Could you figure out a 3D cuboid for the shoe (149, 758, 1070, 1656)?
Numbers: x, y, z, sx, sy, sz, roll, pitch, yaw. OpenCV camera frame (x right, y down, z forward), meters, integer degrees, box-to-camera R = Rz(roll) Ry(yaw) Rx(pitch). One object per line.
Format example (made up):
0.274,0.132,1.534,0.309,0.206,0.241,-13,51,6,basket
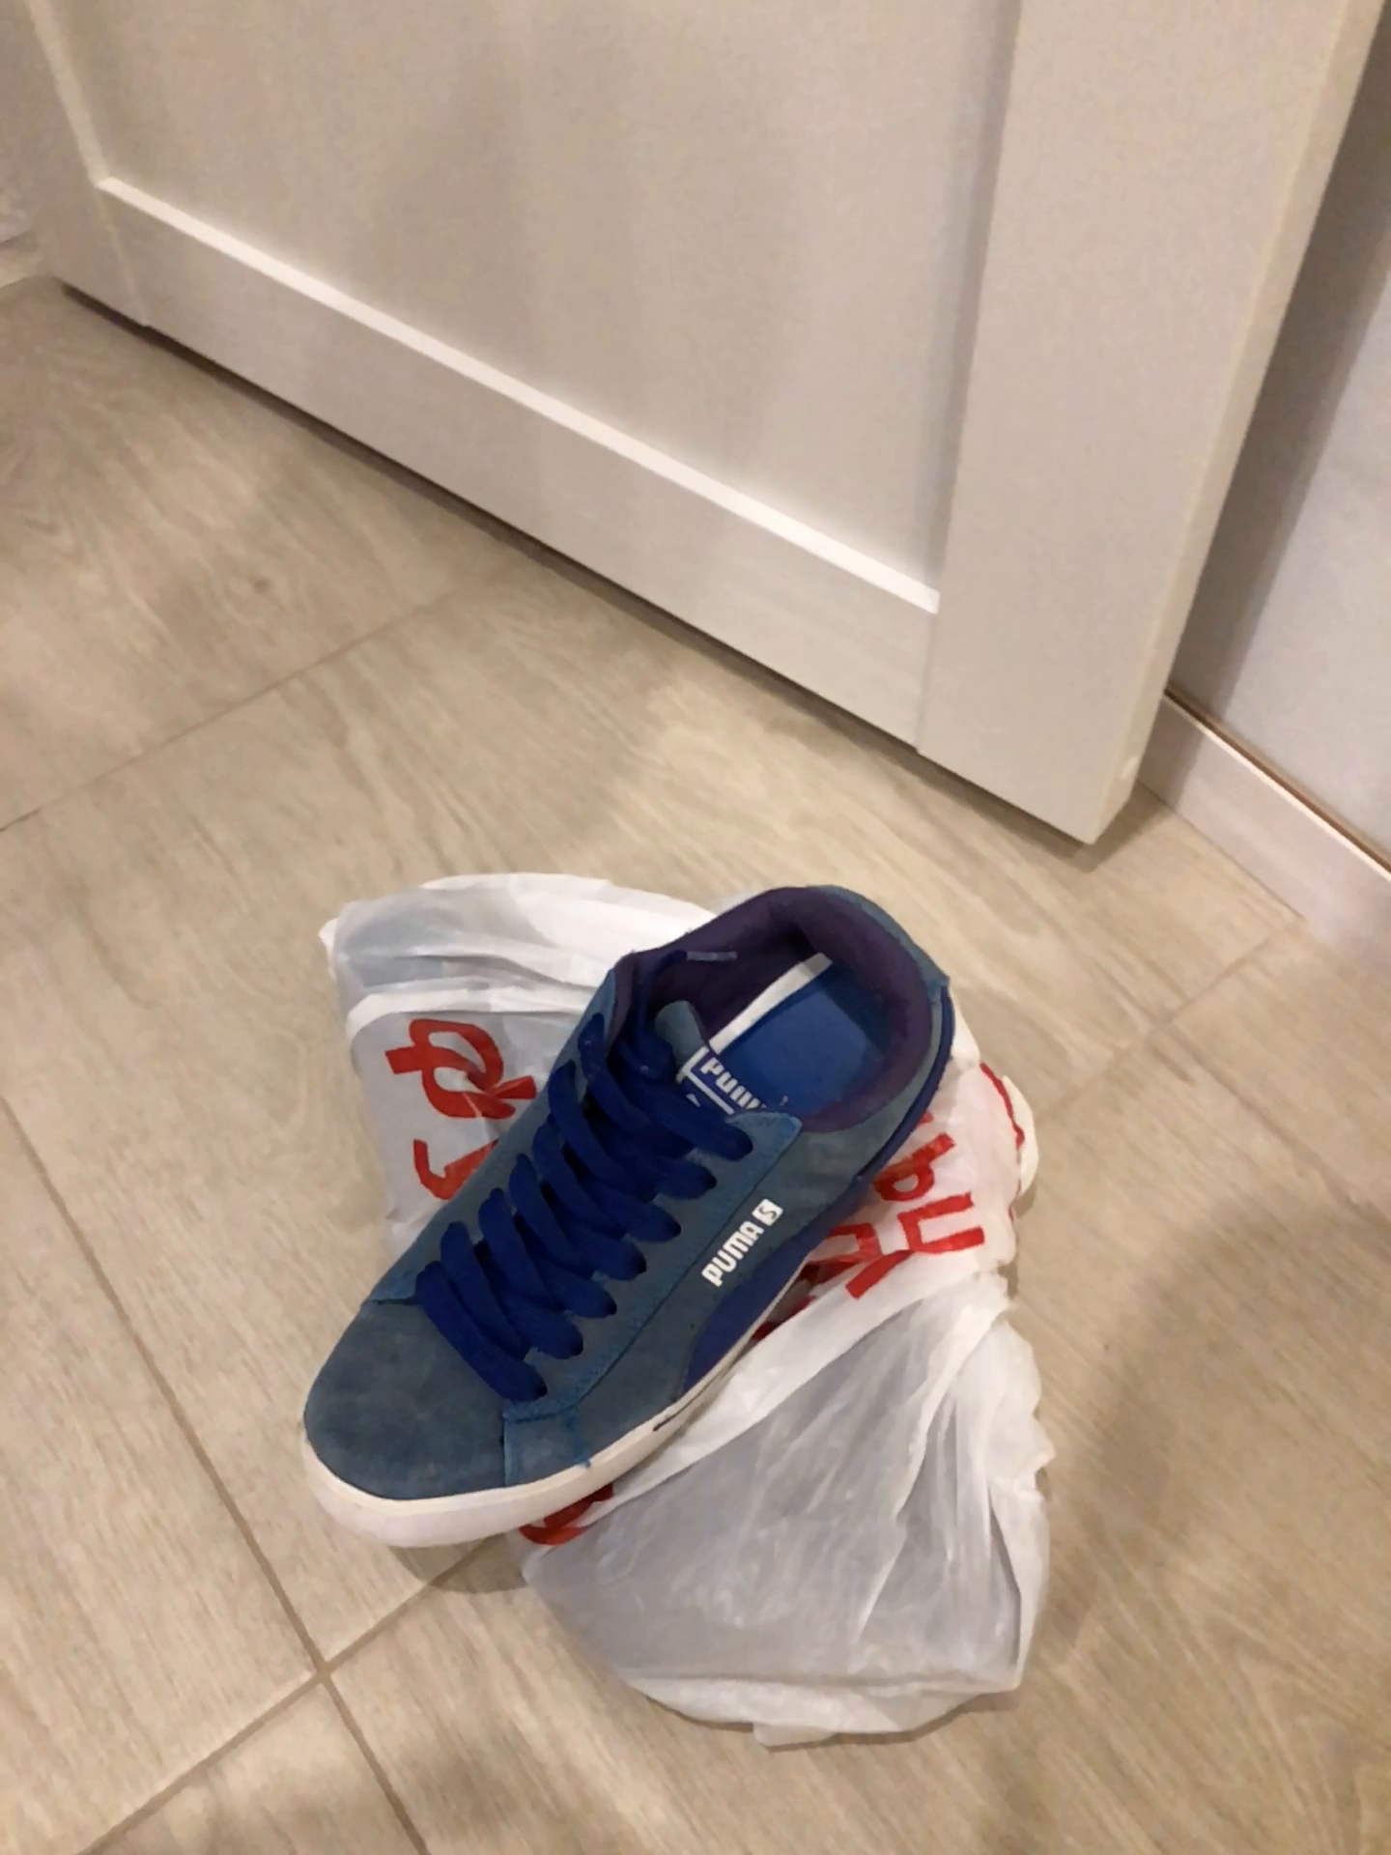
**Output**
-0.014,0.083,0.530,0.301,0.099,0.110,-38,55,-22,shoe
